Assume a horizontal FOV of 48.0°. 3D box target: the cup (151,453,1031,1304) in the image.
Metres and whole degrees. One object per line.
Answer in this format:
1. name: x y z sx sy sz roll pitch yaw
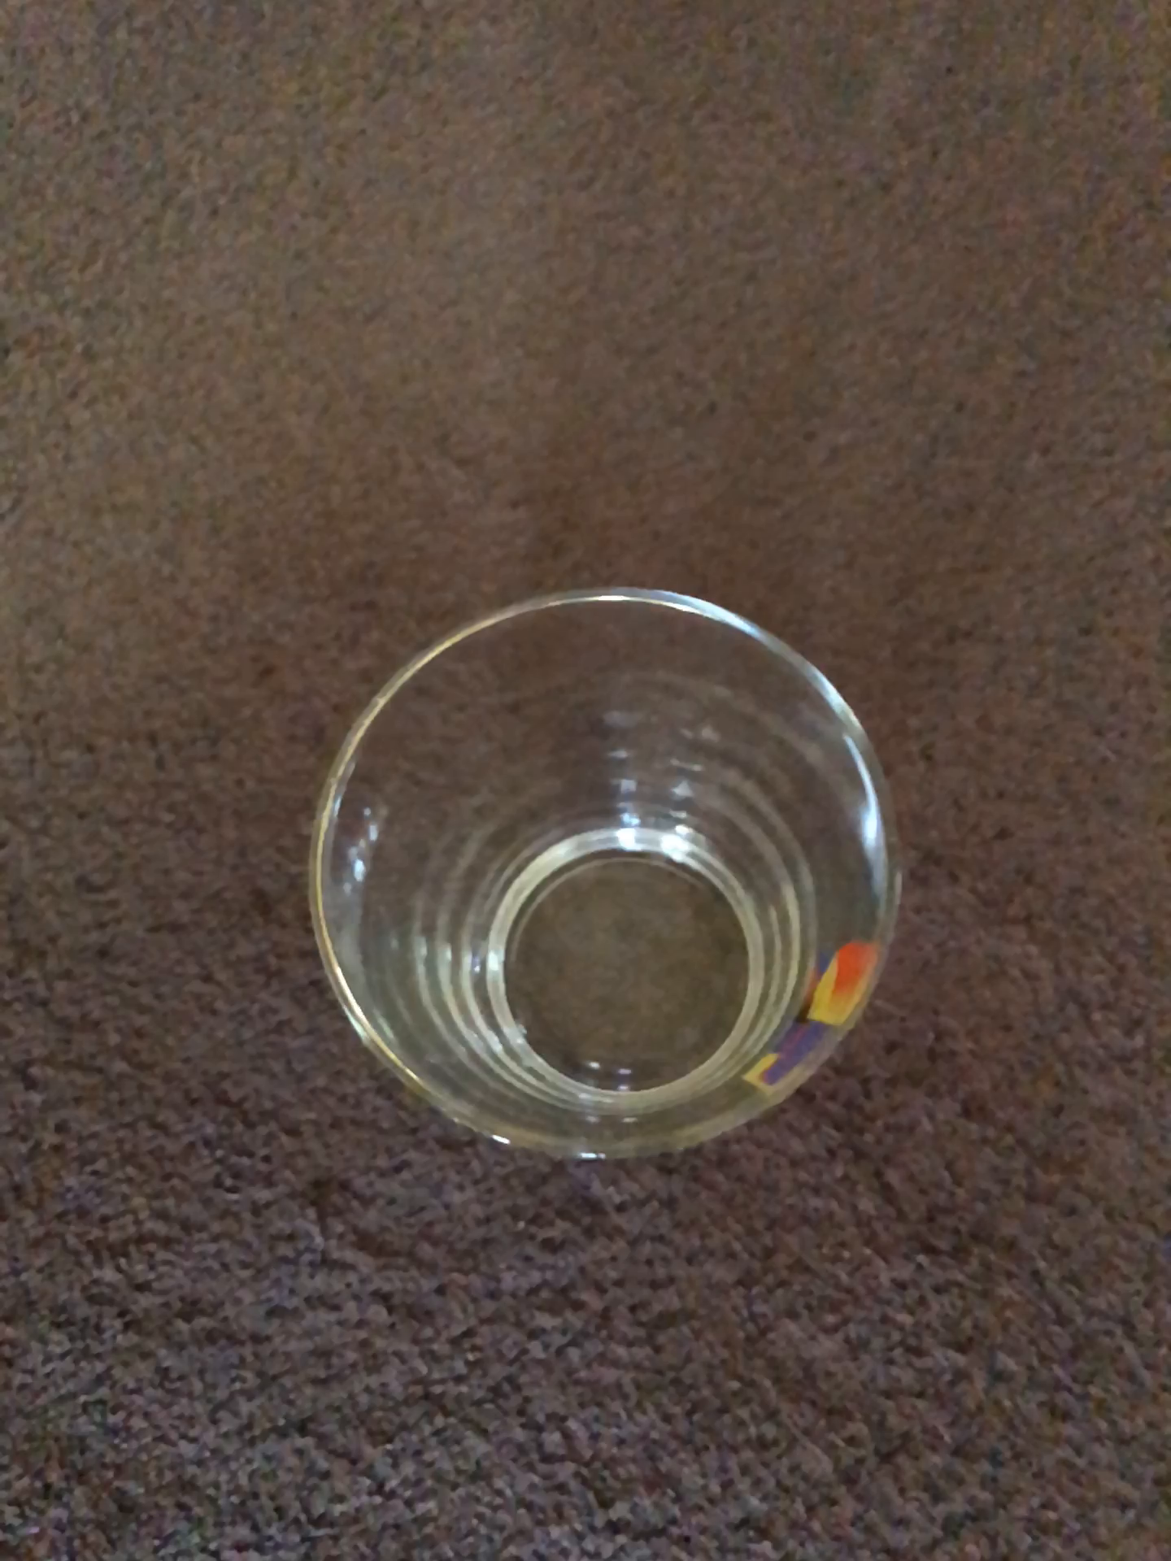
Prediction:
1. cup: 0.004 0.019 0.200 0.080 0.080 0.080 -1 71 3
